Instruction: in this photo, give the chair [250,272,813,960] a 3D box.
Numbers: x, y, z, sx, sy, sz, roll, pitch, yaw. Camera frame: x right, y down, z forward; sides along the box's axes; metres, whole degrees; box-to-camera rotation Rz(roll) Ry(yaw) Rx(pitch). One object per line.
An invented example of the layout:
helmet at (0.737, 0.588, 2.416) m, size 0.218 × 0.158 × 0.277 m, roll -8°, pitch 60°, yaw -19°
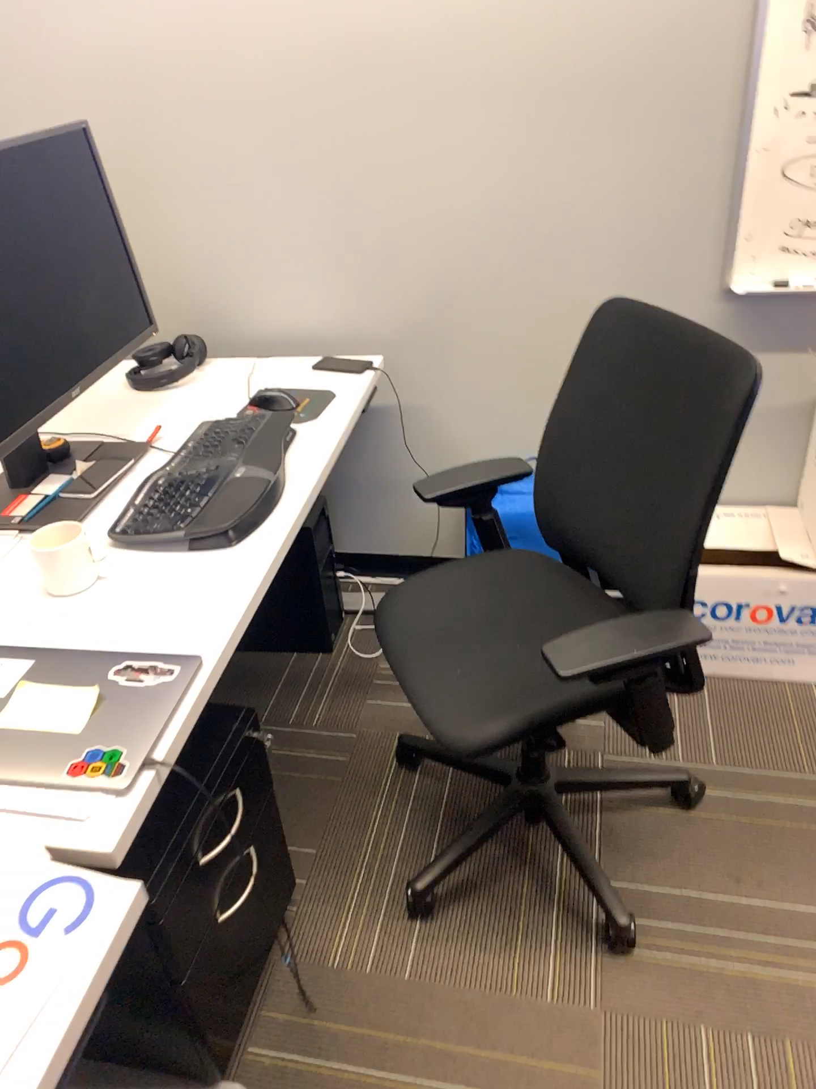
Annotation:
chair at (0.169, 0.072, 1.674) m, size 0.610 × 0.945 × 0.835 m, roll -17°, pitch 34°, yaw -18°
